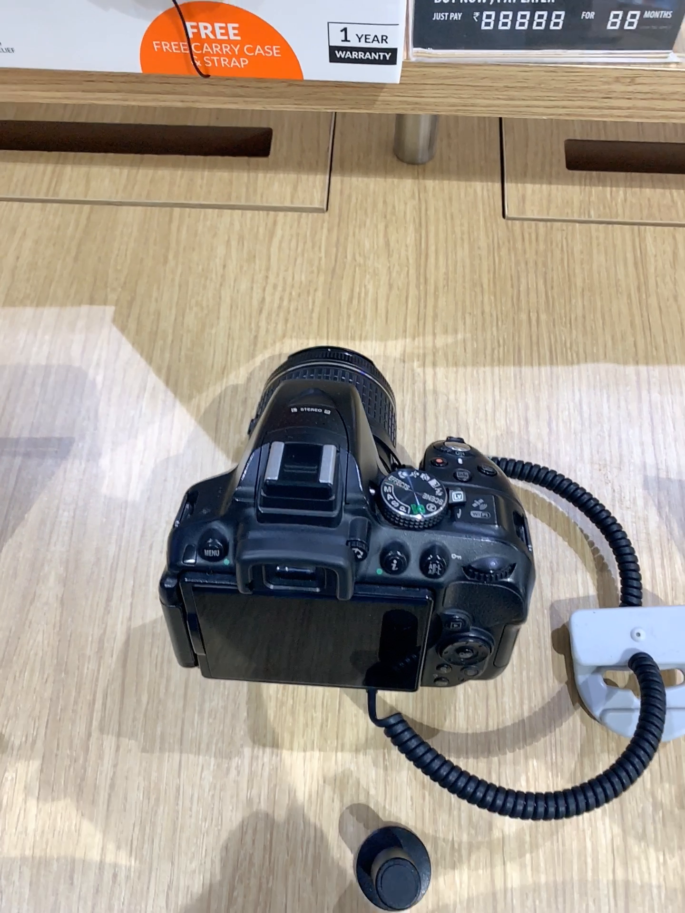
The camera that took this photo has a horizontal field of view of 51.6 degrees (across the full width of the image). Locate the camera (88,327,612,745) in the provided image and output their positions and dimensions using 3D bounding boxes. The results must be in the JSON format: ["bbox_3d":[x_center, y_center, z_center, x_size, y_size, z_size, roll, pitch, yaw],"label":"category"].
[{"bbox_3d":[0.004,0.023,0.243,0.130,0.080,0.110,3,45,2],"label":"camera"}]
